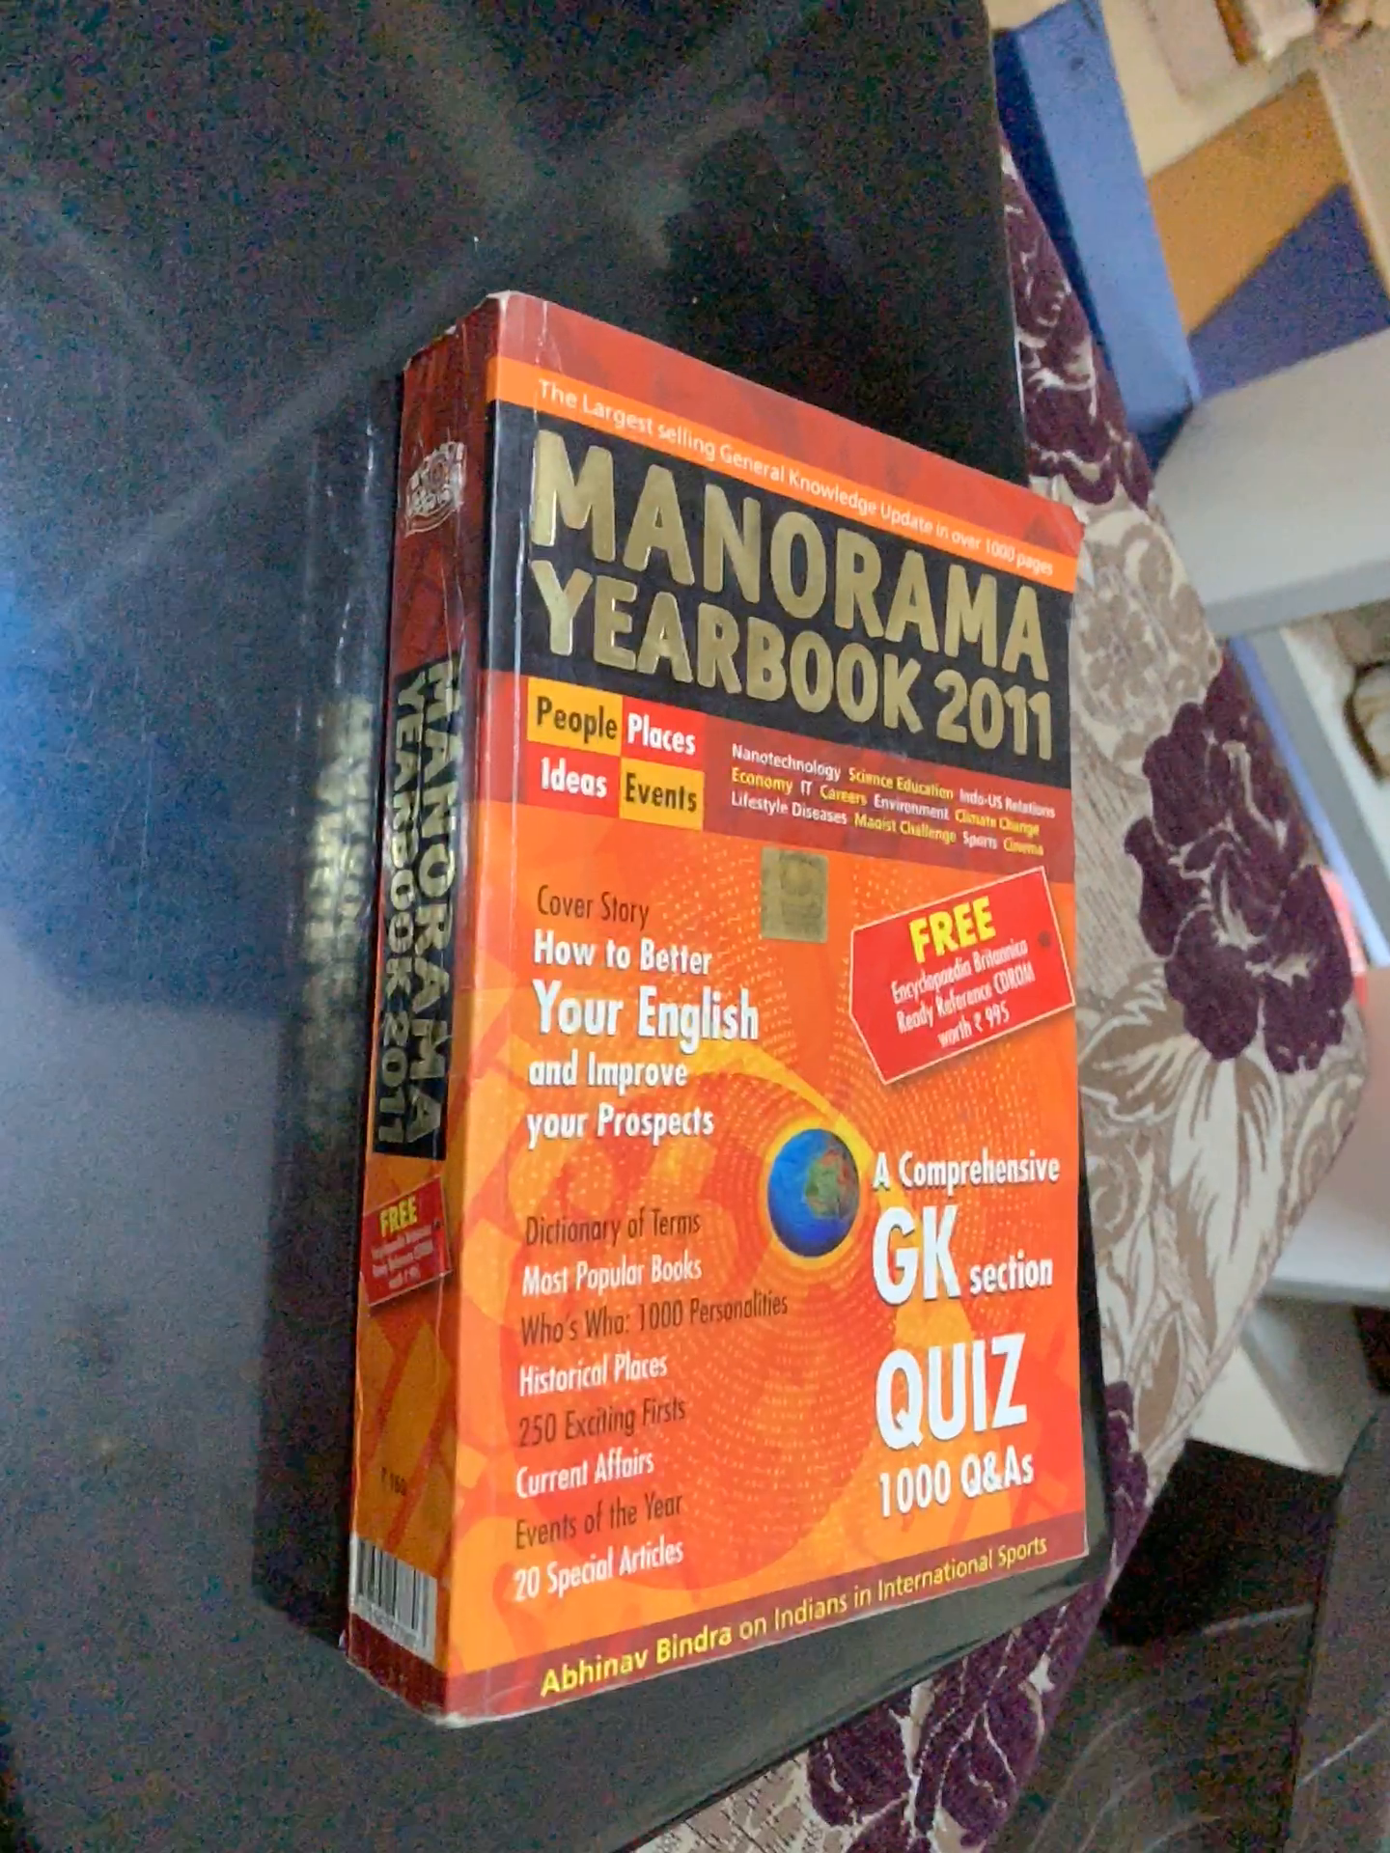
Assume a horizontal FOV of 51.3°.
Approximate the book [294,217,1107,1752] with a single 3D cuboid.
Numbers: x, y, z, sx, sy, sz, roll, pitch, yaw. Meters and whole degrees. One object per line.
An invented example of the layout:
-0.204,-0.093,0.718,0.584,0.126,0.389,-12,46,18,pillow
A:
0.010,0.009,0.261,0.141,0.050,0.210,7,80,-40,book
